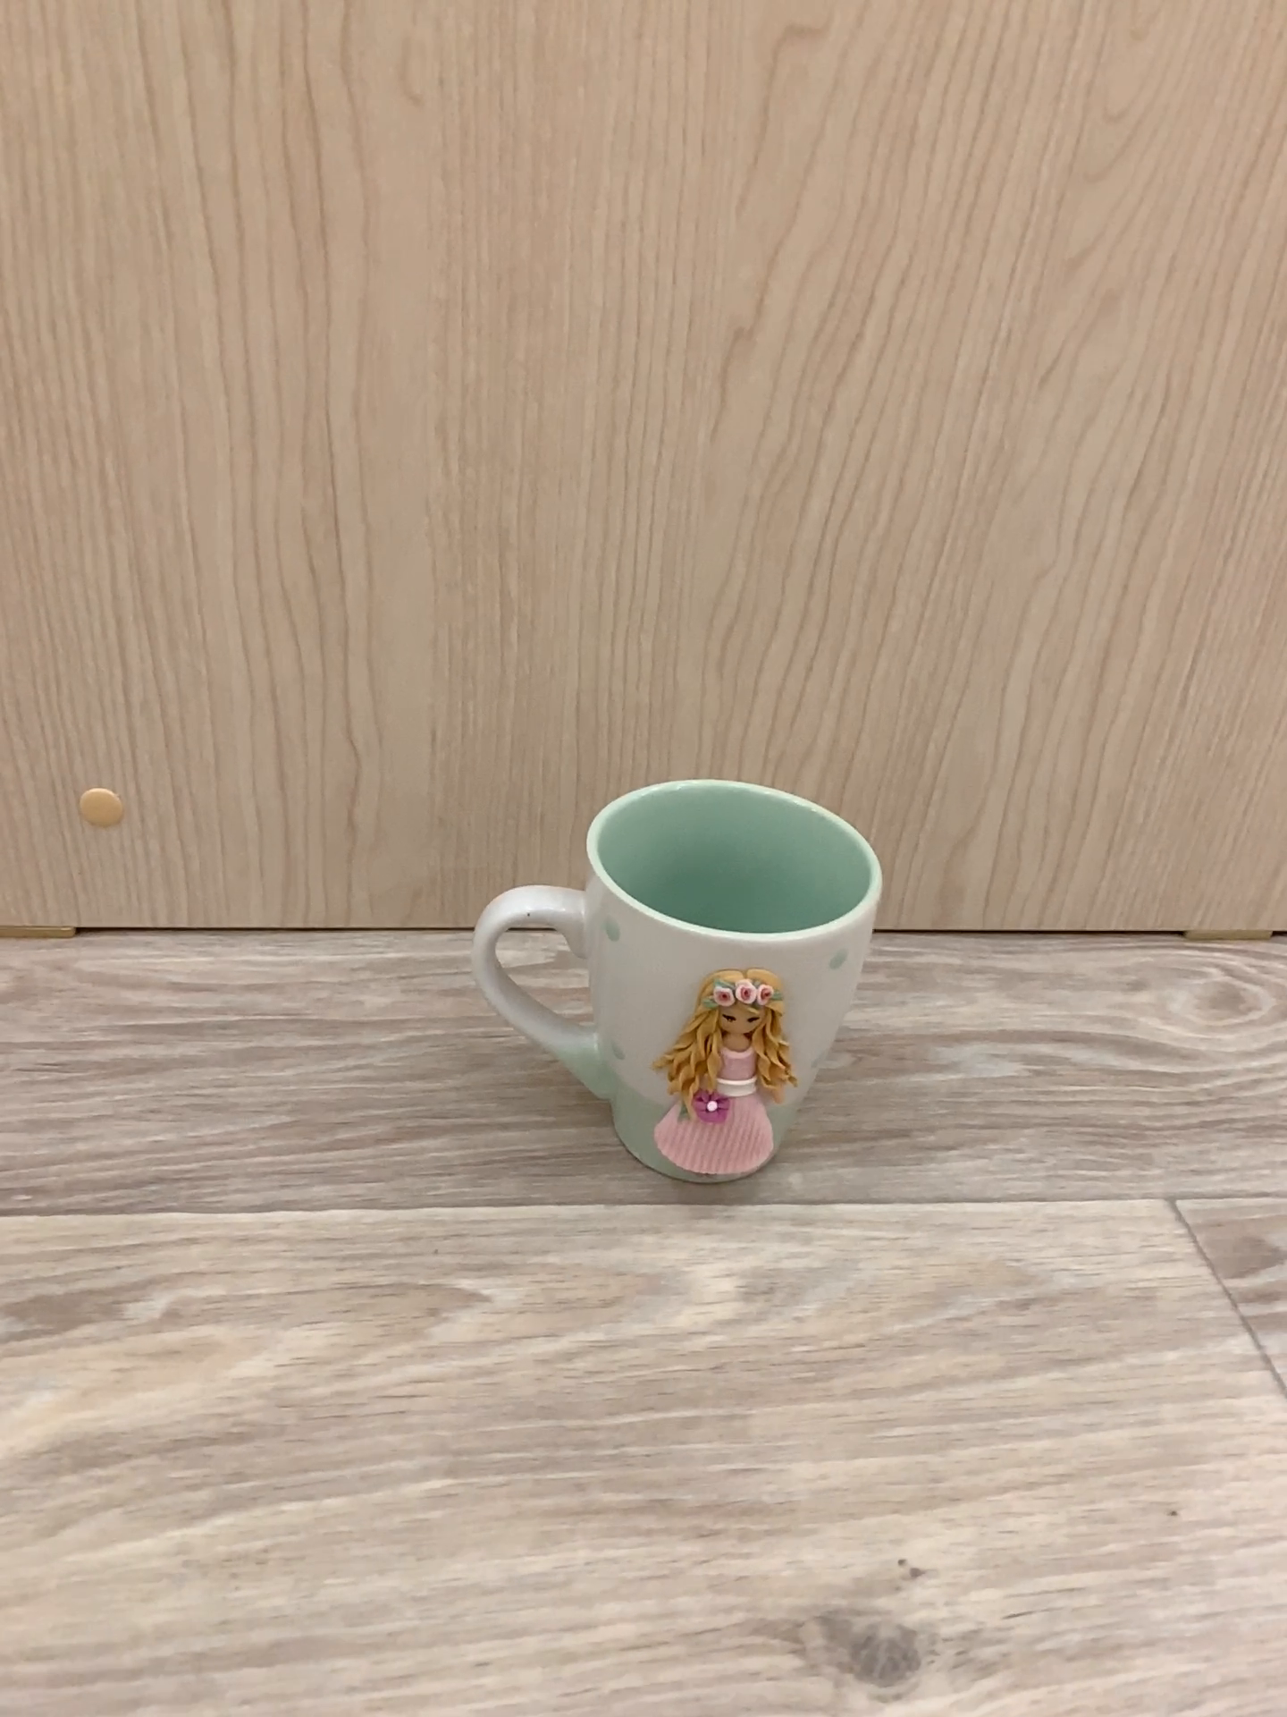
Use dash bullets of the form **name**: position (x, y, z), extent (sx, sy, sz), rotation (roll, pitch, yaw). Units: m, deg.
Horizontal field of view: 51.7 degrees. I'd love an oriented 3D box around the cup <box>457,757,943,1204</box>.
- **cup**: position (0.007, 0.031, 0.364), extent (0.111, 0.080, 0.093), rotation (2, 31, -8)
